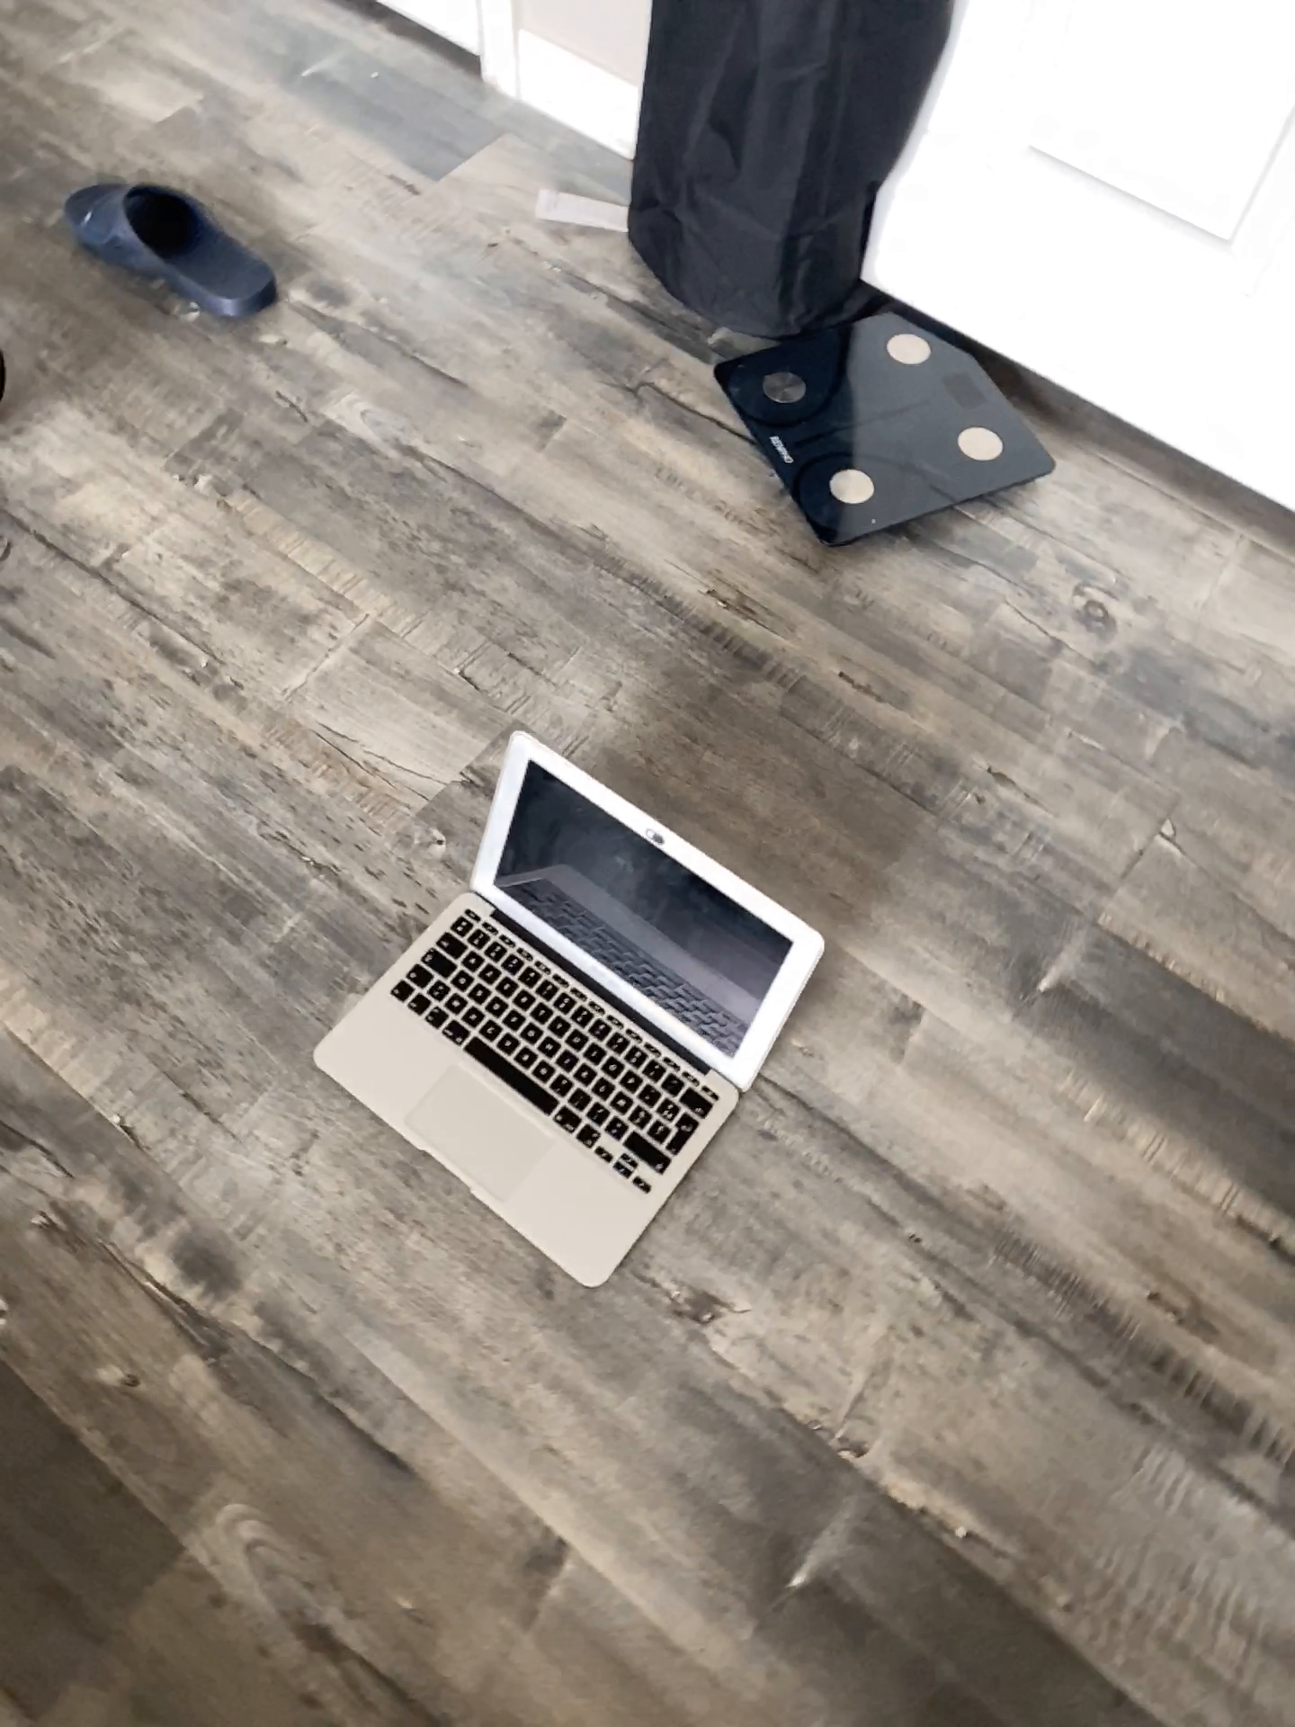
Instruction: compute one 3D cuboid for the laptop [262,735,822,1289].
[{"bbox_3d":[-0.072,0.105,0.977,0.290,0.159,0.255,35,63,15],"label":"laptop"}]
